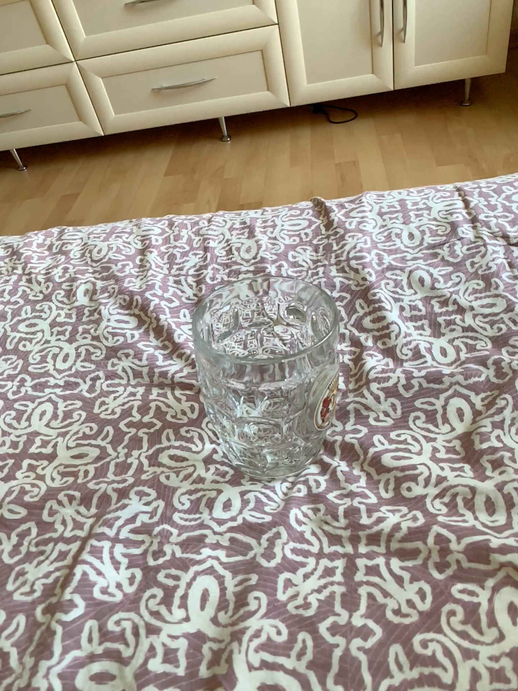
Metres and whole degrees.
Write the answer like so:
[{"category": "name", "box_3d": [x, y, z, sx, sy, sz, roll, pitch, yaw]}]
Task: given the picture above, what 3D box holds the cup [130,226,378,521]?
[{"category": "cup", "box_3d": [0.005, 0.012, 0.329, 0.090, 0.109, 0.121, 18, 47, 23]}]
